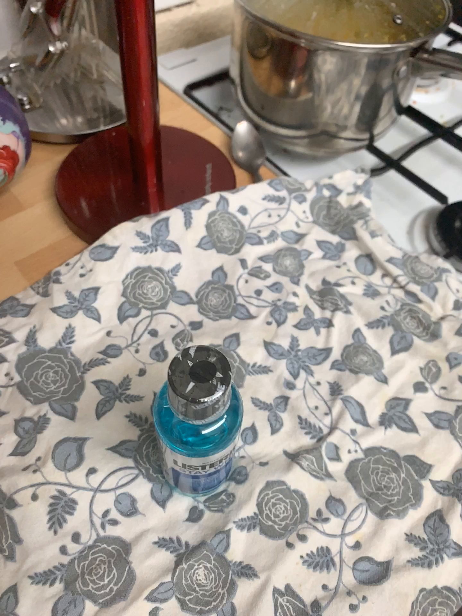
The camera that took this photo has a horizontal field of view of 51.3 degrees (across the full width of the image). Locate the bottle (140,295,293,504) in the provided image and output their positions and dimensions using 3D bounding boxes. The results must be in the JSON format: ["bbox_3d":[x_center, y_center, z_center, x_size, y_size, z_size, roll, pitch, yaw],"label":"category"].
[{"bbox_3d":[-0.011,0.050,0.232,0.050,0.109,0.050,2,55,-4],"label":"bottle"}]
